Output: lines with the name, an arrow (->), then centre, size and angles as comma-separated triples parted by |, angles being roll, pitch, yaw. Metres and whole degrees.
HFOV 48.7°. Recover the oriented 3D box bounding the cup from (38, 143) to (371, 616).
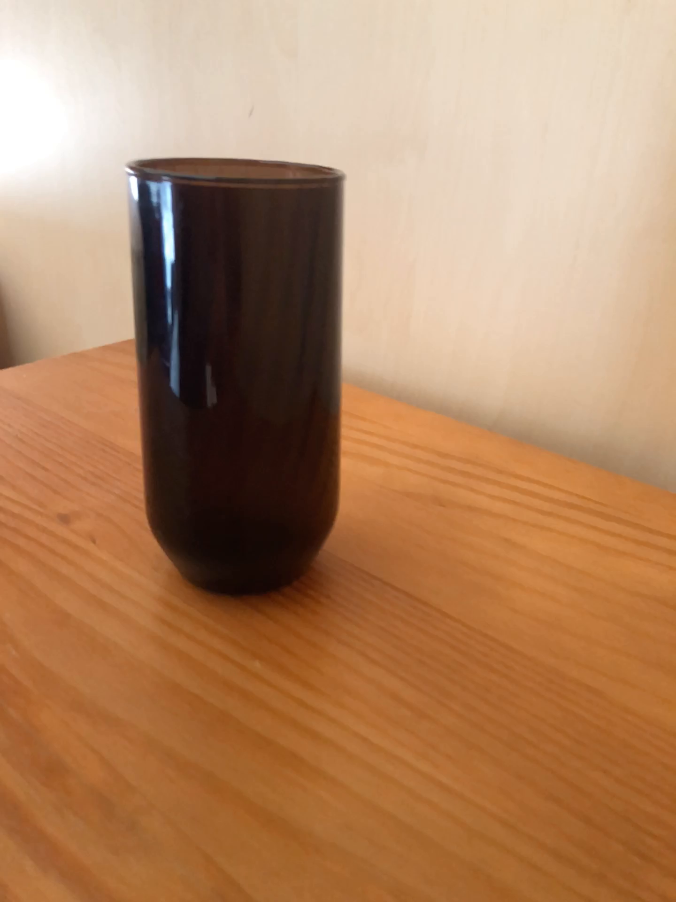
cup -> -0.033, -0.024, 0.213 | 0.060, 0.112, 0.062 | 3, 25, -1
